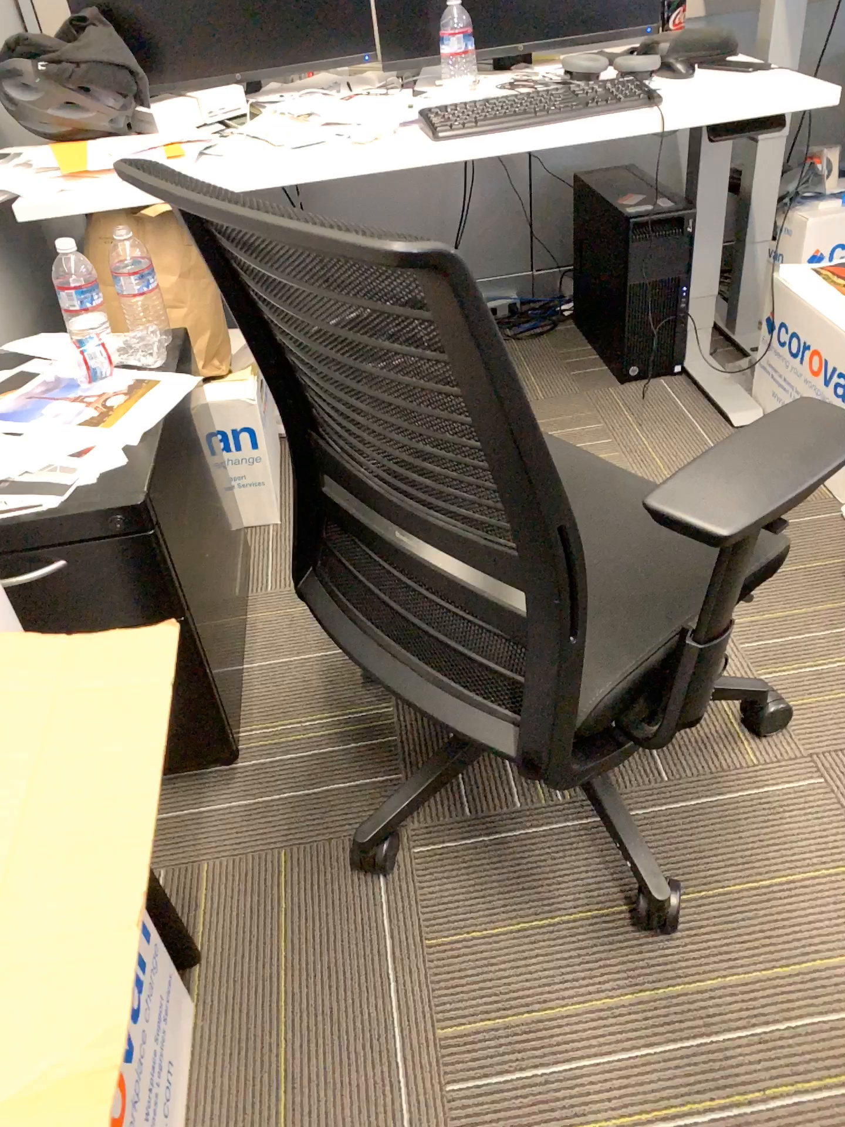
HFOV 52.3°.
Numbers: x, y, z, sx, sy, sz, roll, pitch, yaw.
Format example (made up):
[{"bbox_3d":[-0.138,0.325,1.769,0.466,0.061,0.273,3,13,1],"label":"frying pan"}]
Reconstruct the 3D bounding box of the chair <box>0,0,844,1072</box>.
[{"bbox_3d":[0.124,-0.105,1.025,0.663,0.914,0.681,28,50,37],"label":"chair"}]
